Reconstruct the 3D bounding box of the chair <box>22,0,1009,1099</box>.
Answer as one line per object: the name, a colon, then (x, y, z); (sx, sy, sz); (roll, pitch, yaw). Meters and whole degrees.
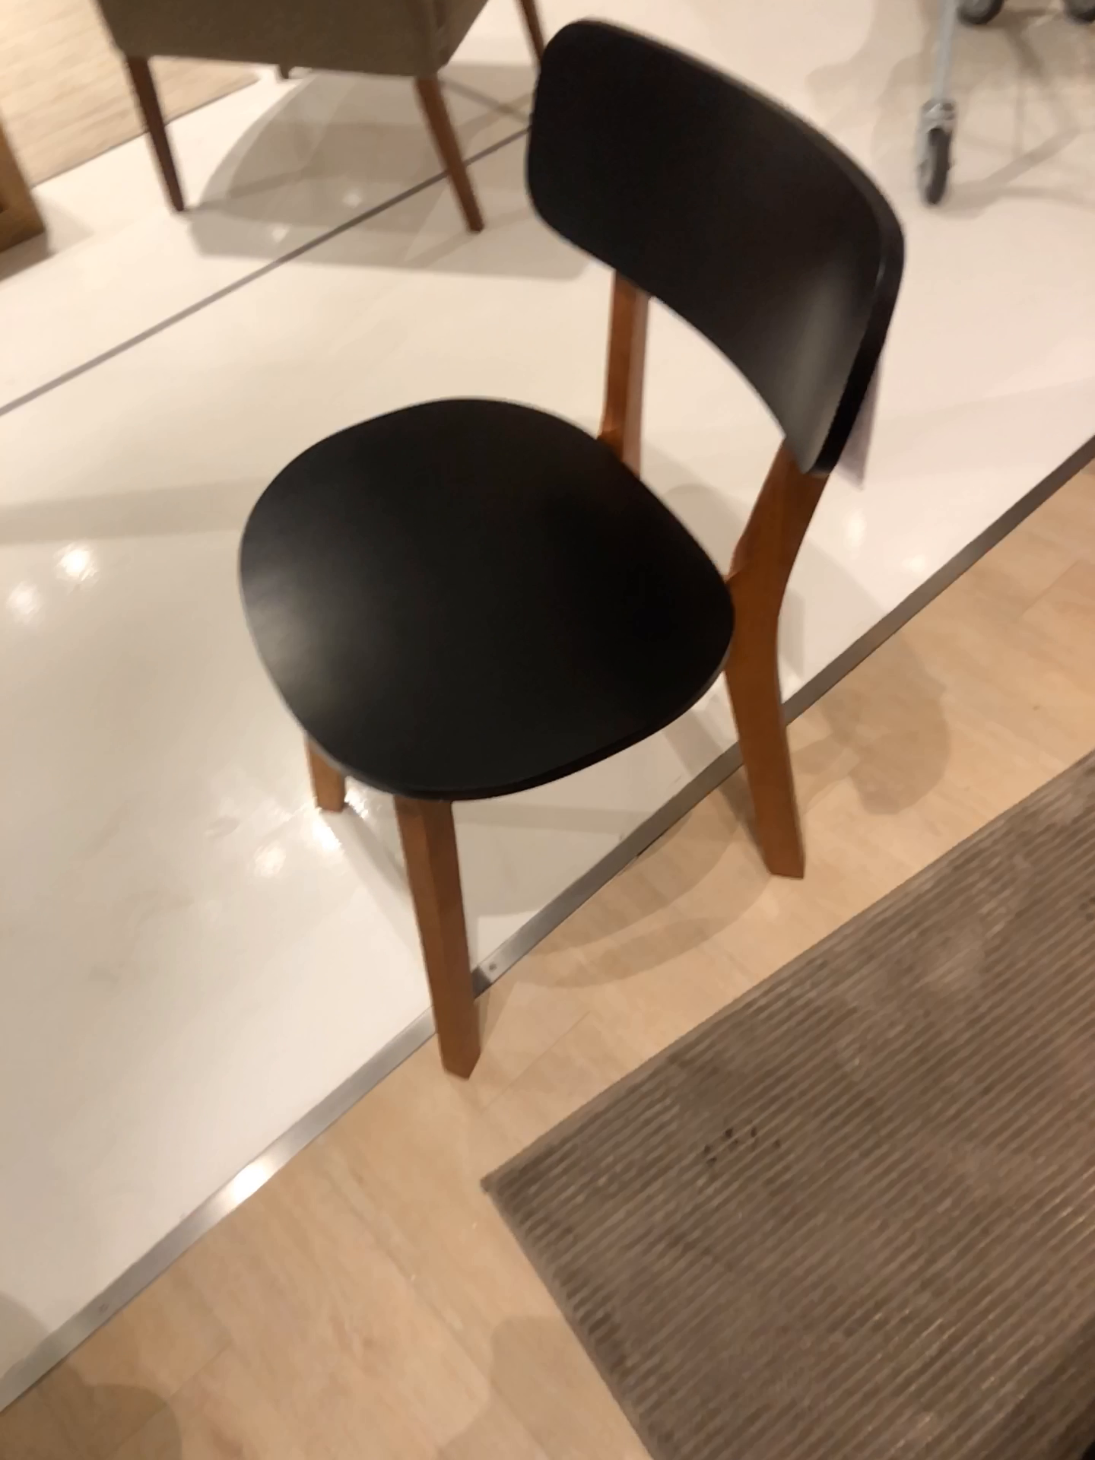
chair: (-0.019, -0.124, 1.052); (0.481, 0.705, 0.463); (-26, 54, -13)
